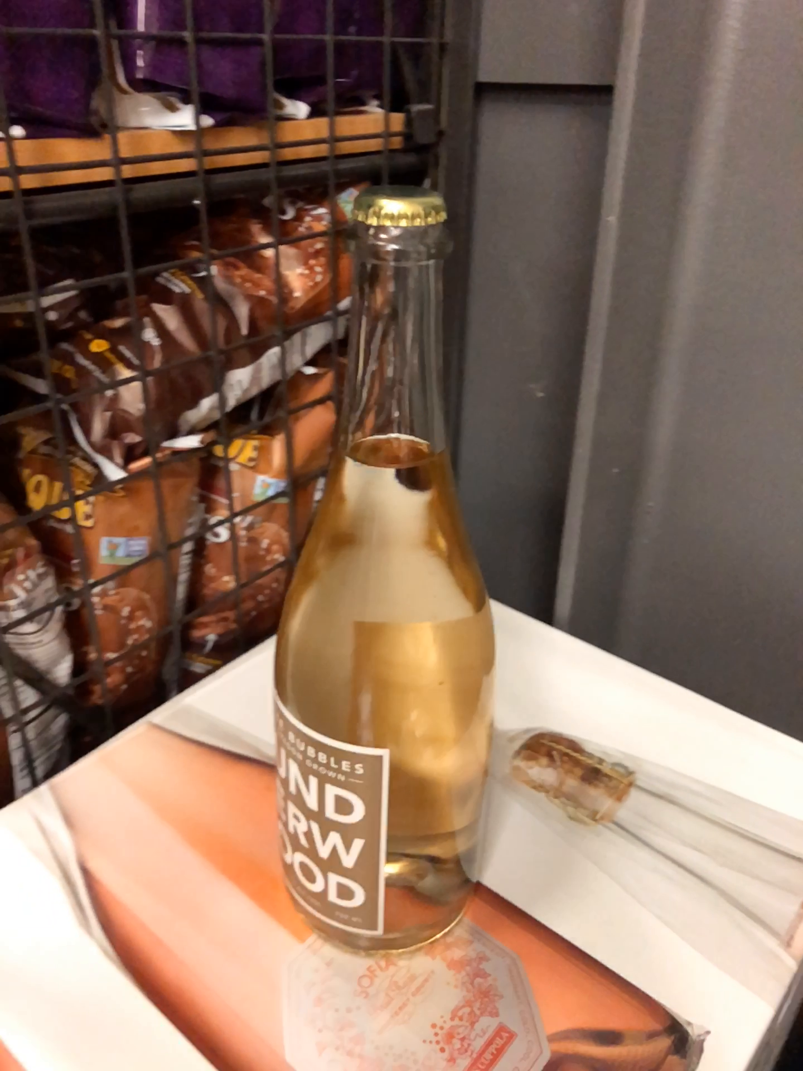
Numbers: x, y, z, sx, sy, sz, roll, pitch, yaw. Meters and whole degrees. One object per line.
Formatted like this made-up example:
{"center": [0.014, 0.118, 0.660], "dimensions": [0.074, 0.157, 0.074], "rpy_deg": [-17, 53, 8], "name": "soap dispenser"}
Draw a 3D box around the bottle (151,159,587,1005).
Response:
{"center": [-0.012, 0.023, 0.350], "dimensions": [0.099, 0.304, 0.095], "rpy_deg": [1, 28, 0], "name": "bottle"}
